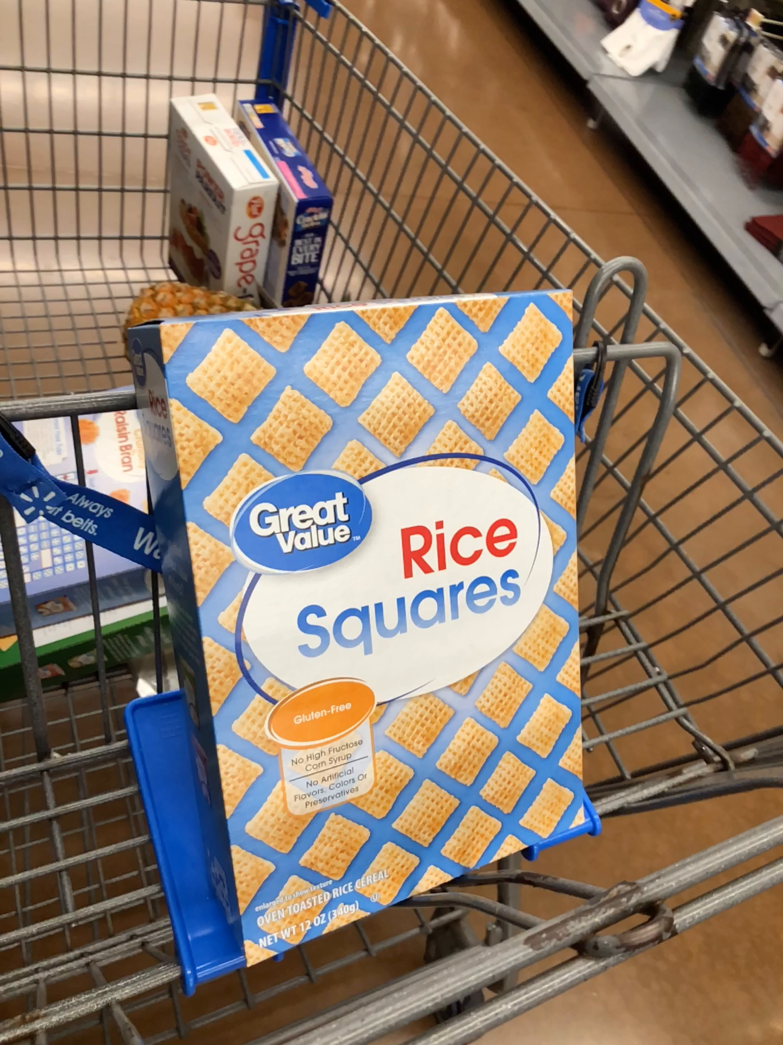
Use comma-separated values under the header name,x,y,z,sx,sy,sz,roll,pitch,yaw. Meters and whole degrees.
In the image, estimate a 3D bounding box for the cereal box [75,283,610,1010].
name,x,y,z,sx,sy,sz,roll,pitch,yaw
cereal box,-0.010,0.041,0.408,0.210,0.280,0.080,-12,15,-26
